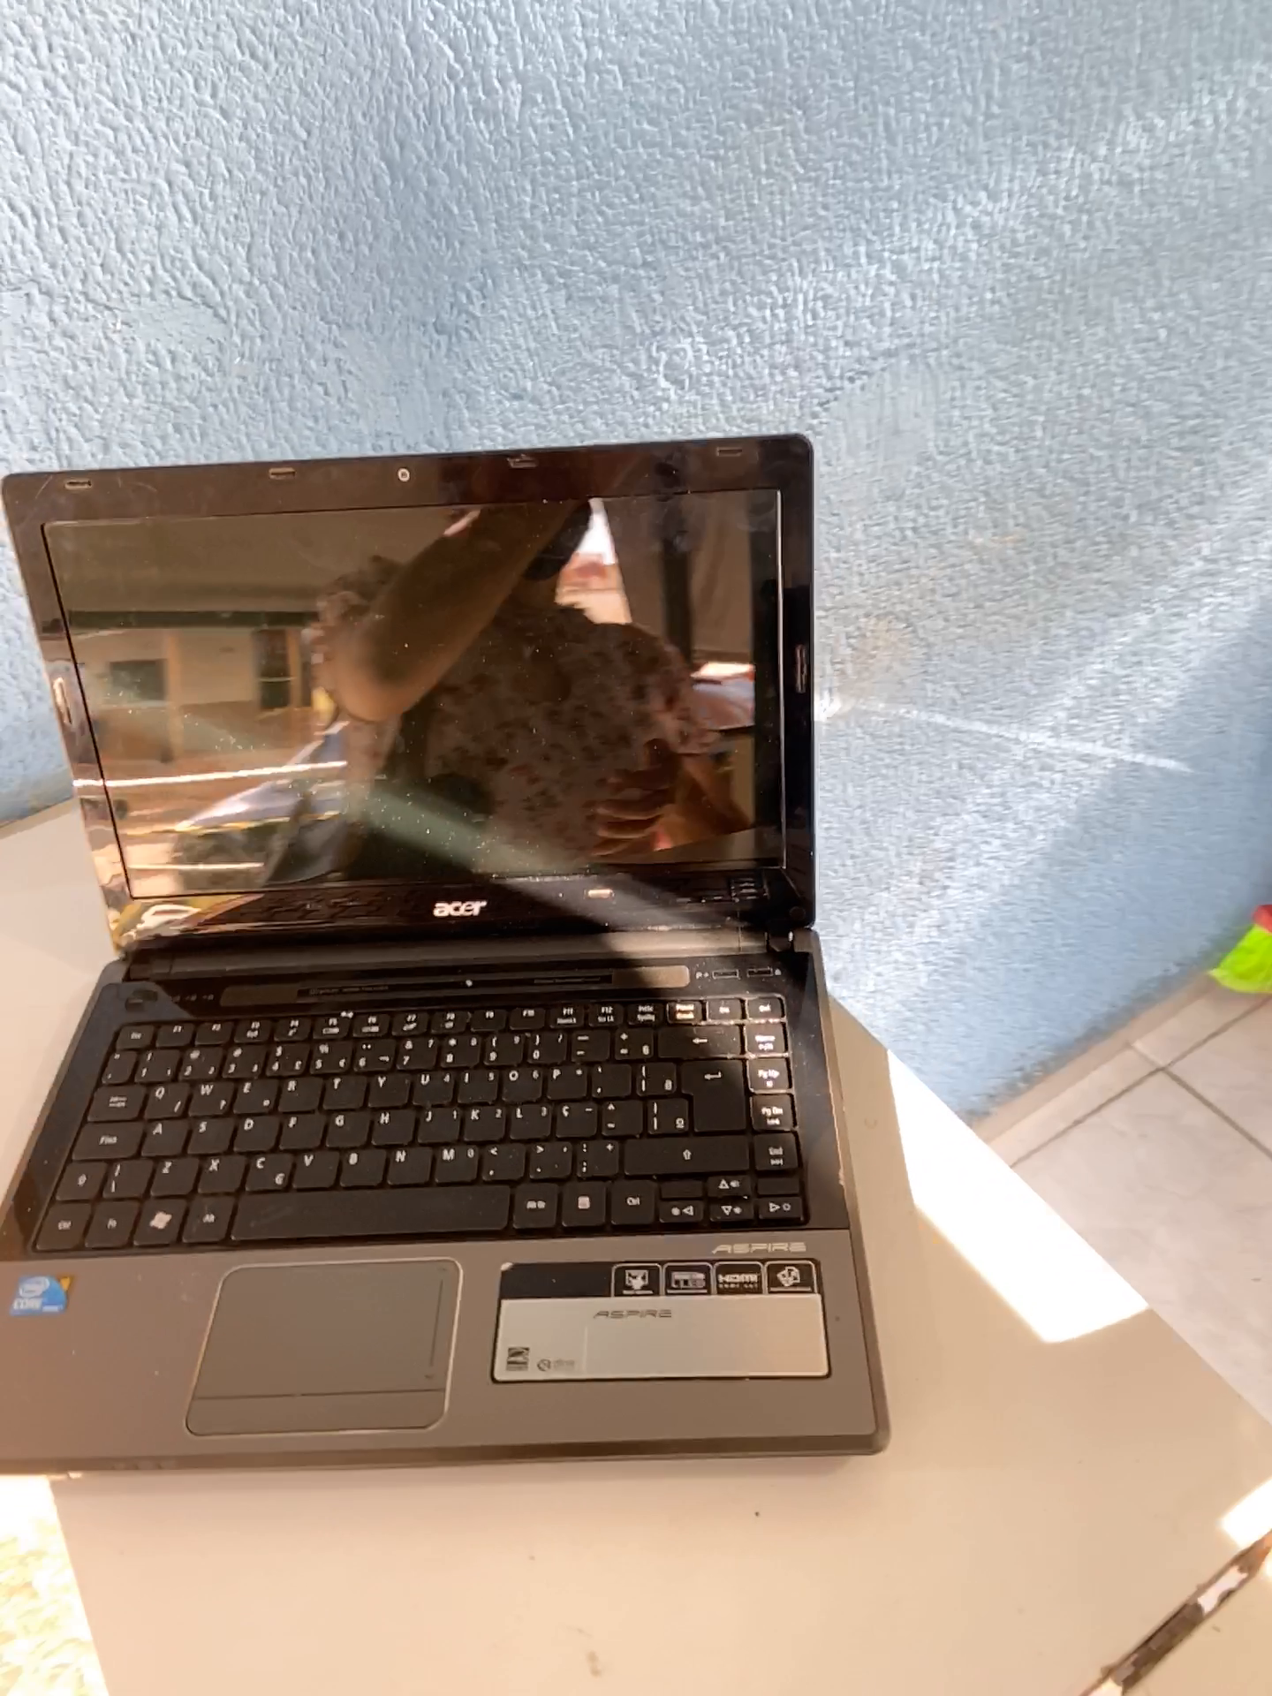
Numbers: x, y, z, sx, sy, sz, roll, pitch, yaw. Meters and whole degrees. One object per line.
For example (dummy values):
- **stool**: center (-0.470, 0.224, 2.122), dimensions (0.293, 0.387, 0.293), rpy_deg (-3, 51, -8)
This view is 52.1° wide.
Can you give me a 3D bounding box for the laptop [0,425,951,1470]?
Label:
- **laptop**: center (-0.088, 0.020, 0.492), dimensions (0.336, 0.207, 0.320), rpy_deg (-3, 42, 3)
